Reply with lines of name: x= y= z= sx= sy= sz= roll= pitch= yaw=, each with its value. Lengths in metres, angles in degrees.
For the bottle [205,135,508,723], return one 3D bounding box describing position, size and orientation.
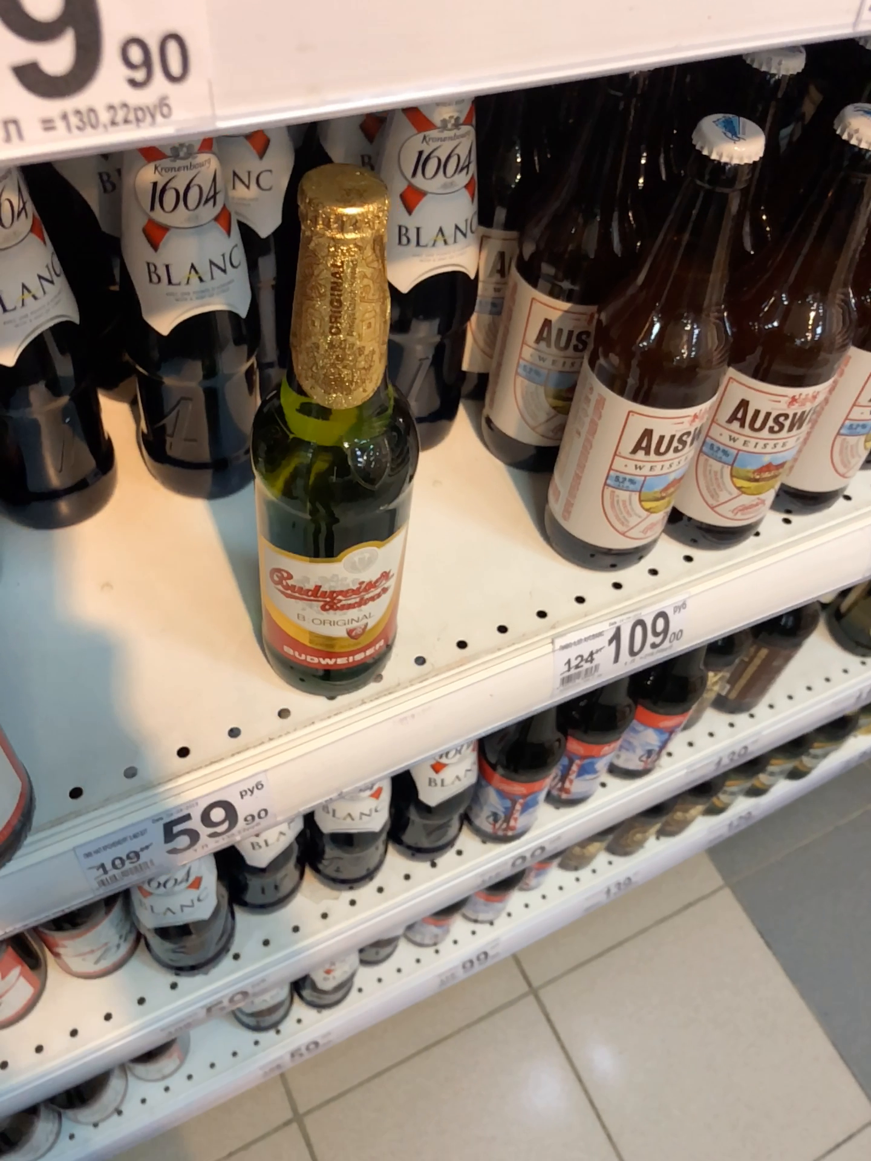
bottle: x=-0.039 y=-0.038 z=0.386 sx=0.080 sy=0.255 sz=0.070 roll=-5 pitch=55 yaw=-11
